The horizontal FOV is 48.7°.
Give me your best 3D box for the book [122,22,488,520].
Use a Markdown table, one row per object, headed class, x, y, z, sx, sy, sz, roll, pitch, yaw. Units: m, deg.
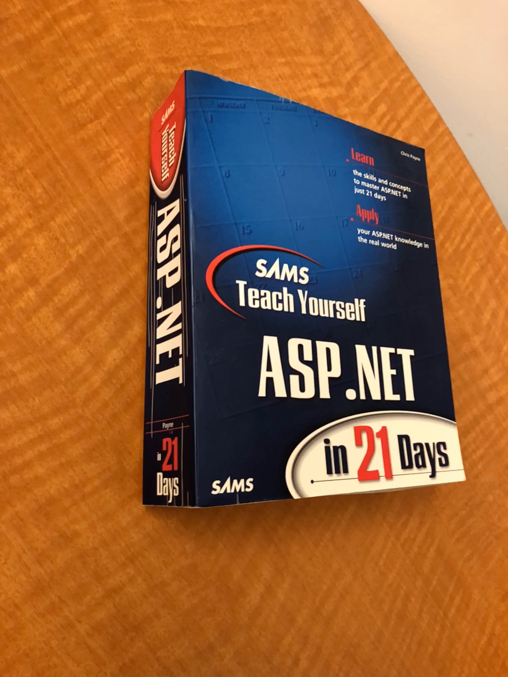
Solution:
| class | x | y | z | sx | sy | sz | roll | pitch | yaw |
| --- | --- | --- | --- | --- | --- | --- | --- | --- | --- |
| book | 0.035 | -0.024 | 0.337 | 0.201 | 0.070 | 0.240 | 8 | 74 | -32 |
